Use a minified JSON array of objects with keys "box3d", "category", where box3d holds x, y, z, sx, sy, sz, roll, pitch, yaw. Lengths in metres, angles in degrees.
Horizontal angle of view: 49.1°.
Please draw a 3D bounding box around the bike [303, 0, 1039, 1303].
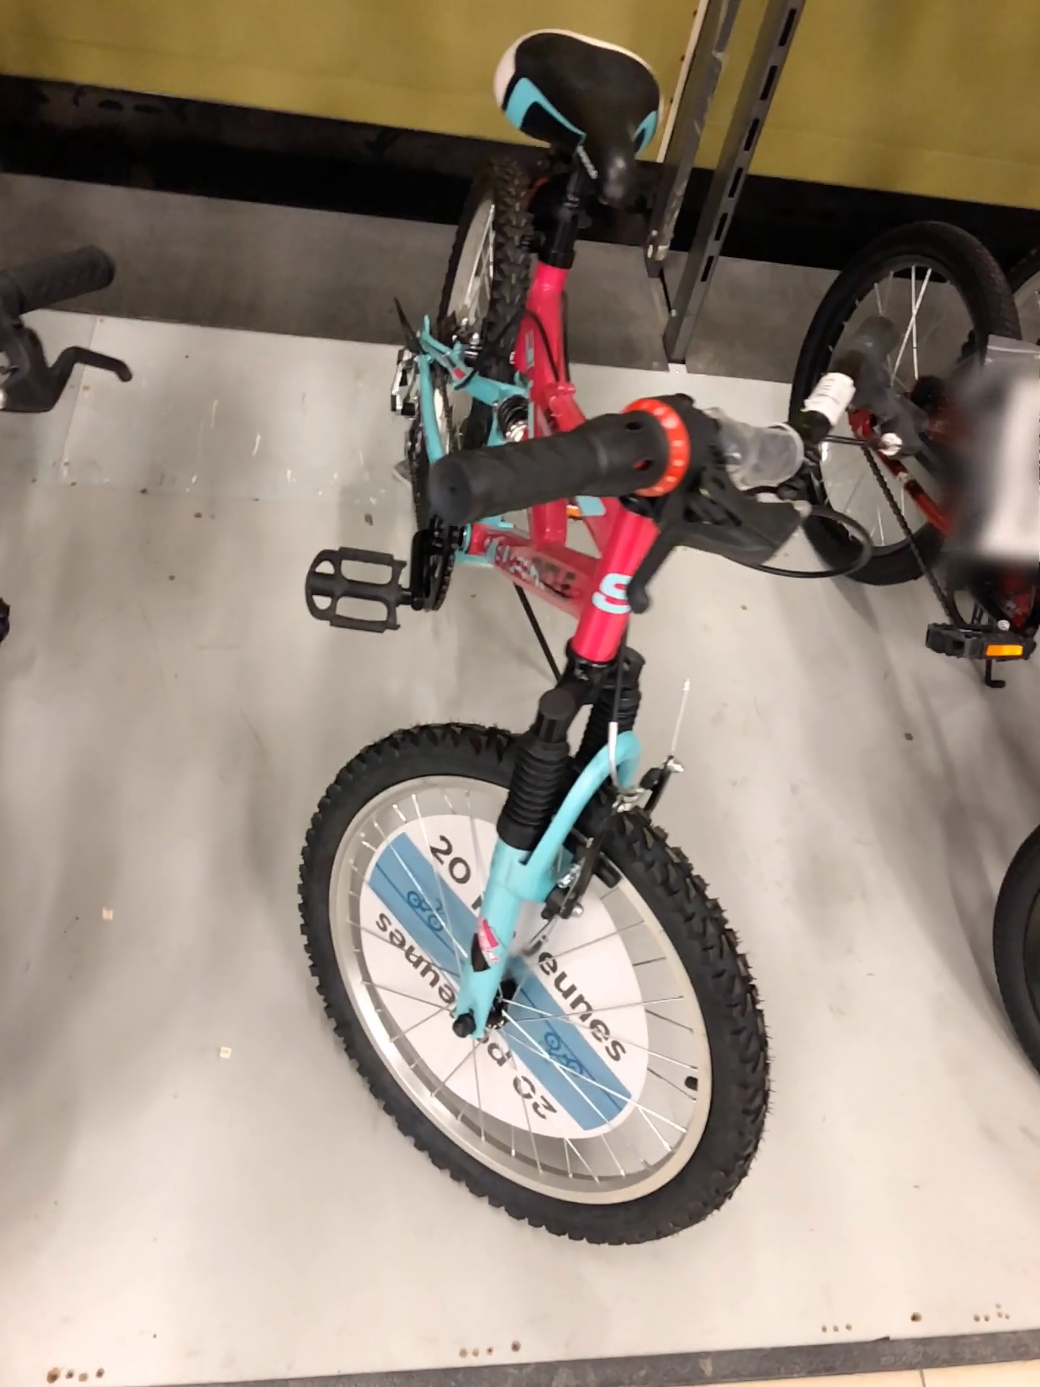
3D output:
[{"box3d":[0.129,-0.166,1.135,0.563,0.764,1.218,-3,58,-14],"category":"bike"}]
